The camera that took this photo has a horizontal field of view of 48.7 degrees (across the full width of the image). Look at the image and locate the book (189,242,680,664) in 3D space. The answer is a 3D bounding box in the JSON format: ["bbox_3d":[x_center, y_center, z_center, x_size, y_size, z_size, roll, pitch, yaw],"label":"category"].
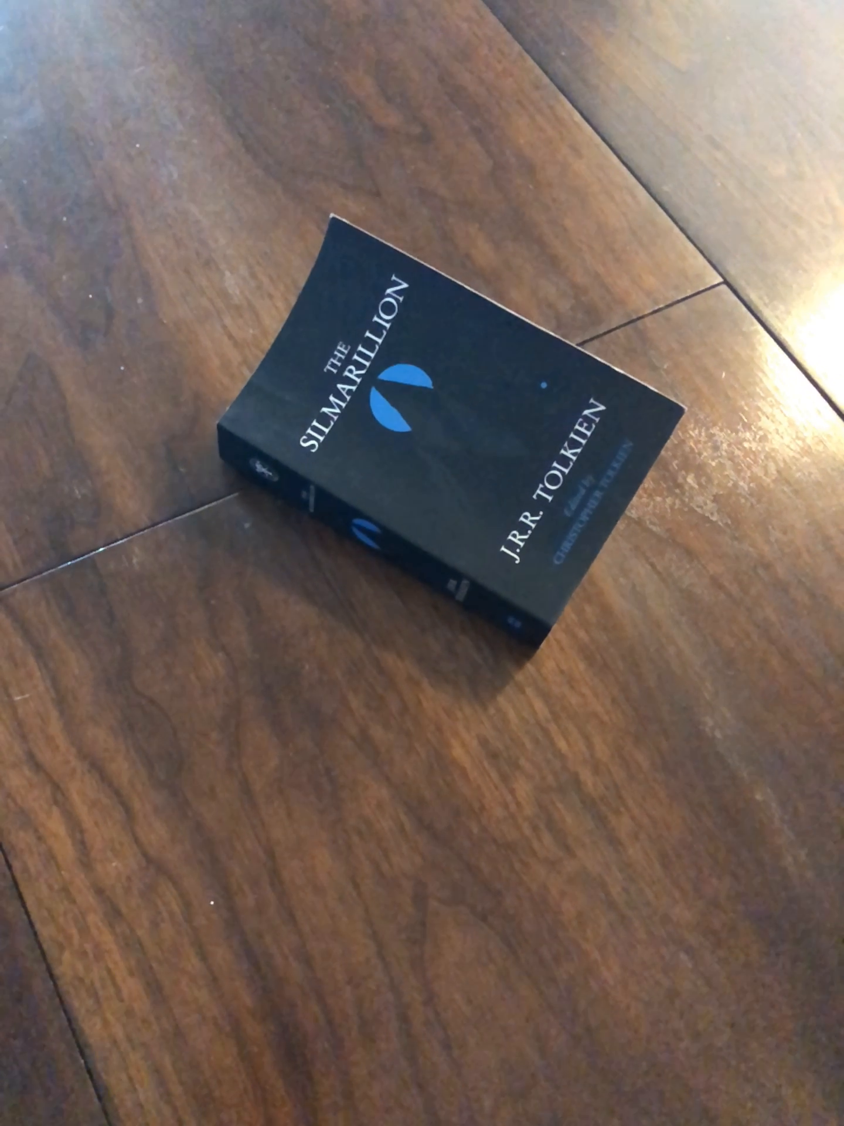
[{"bbox_3d":[0.007,-0.055,0.425,0.180,0.040,0.119,30,65,8],"label":"book"}]
